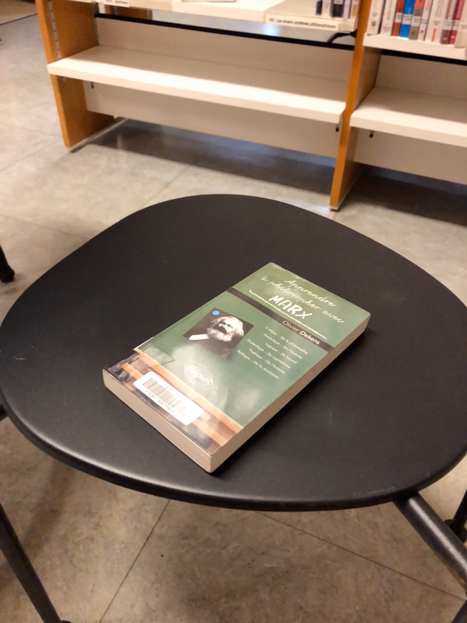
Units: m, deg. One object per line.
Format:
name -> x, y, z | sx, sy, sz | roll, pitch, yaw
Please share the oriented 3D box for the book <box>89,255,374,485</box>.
book -> 0.005, 0.026, 0.370 | 0.110, 0.024, 0.178 | 32, 49, 31
